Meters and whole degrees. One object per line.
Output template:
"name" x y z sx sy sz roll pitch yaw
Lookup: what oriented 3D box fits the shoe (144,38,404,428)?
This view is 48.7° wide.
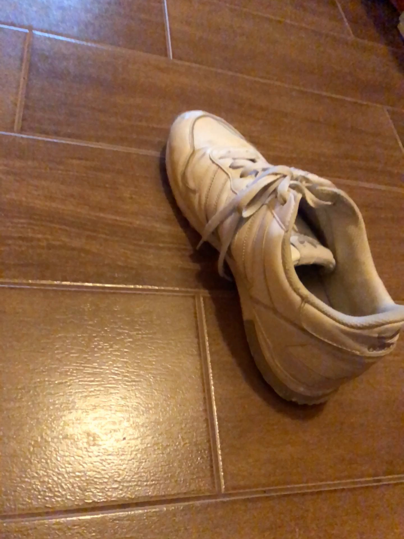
"shoe" 0.064 -0.046 0.395 0.120 0.119 0.311 -10 64 -26
